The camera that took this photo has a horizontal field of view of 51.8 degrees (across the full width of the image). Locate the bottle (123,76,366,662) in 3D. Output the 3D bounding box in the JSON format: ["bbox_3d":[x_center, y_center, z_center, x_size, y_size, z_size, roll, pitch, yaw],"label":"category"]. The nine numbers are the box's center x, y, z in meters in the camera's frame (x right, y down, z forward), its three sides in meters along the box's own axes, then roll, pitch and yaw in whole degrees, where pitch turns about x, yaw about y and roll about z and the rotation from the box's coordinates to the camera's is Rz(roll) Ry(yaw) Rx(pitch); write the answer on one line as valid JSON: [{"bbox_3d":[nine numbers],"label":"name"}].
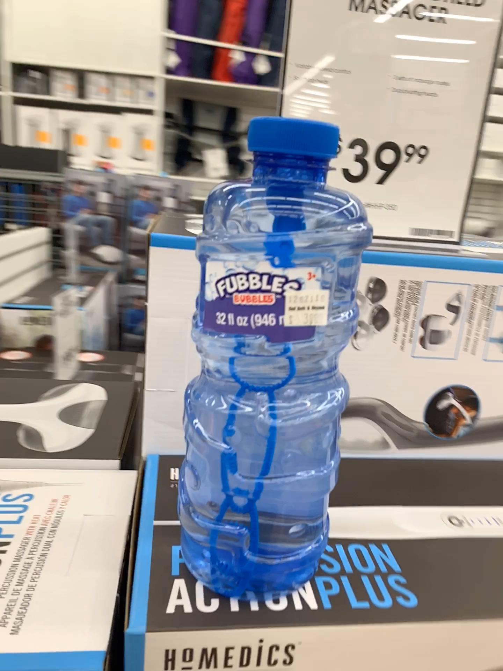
[{"bbox_3d":[-0.004,0.016,0.254,0.081,0.243,0.081,4,14,-1],"label":"bottle"}]
